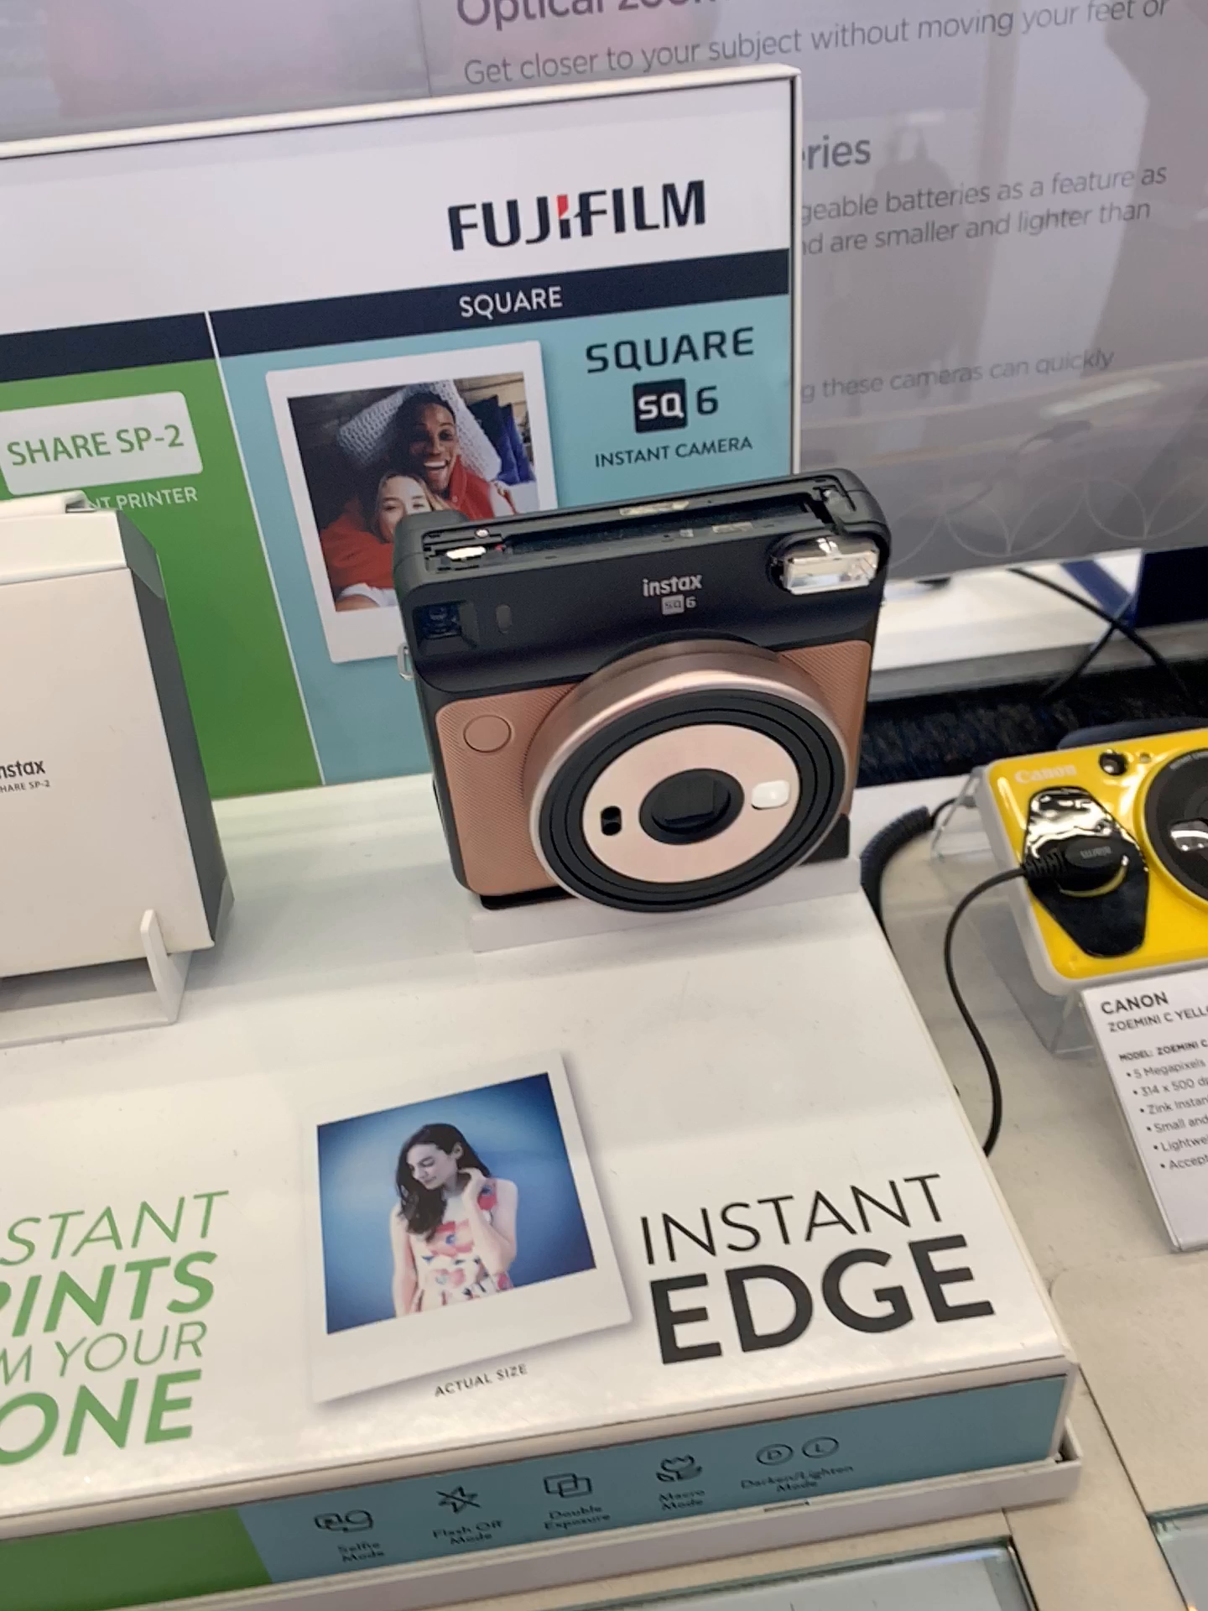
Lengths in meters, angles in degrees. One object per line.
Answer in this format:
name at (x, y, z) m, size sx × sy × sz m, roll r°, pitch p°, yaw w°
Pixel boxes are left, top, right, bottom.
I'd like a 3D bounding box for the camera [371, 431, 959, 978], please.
camera at (0.013, -0.025, 0.340) m, size 0.130 × 0.119 × 0.061 m, roll -9°, pitch 45°, yaw -6°
